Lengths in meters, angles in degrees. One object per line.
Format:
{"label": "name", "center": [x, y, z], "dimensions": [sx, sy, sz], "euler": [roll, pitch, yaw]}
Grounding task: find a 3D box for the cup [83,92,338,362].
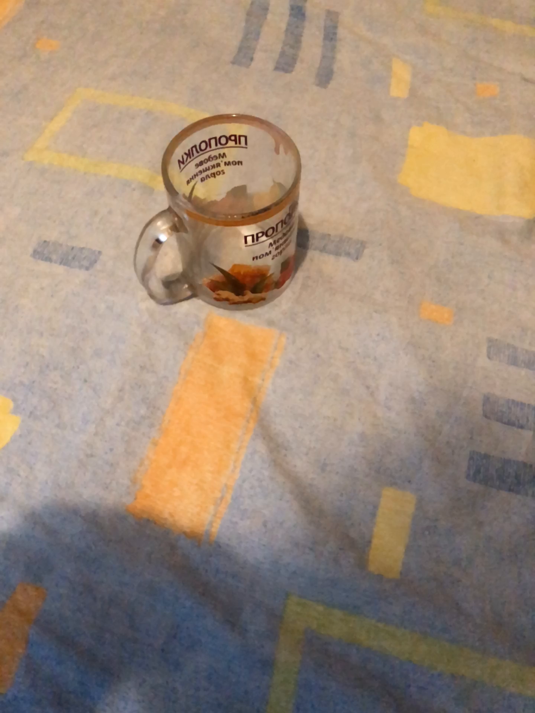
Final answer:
{"label": "cup", "center": [-0.032, -0.078, 0.364], "dimensions": [0.110, 0.092, 0.084], "euler": [-37, 69, -20]}
